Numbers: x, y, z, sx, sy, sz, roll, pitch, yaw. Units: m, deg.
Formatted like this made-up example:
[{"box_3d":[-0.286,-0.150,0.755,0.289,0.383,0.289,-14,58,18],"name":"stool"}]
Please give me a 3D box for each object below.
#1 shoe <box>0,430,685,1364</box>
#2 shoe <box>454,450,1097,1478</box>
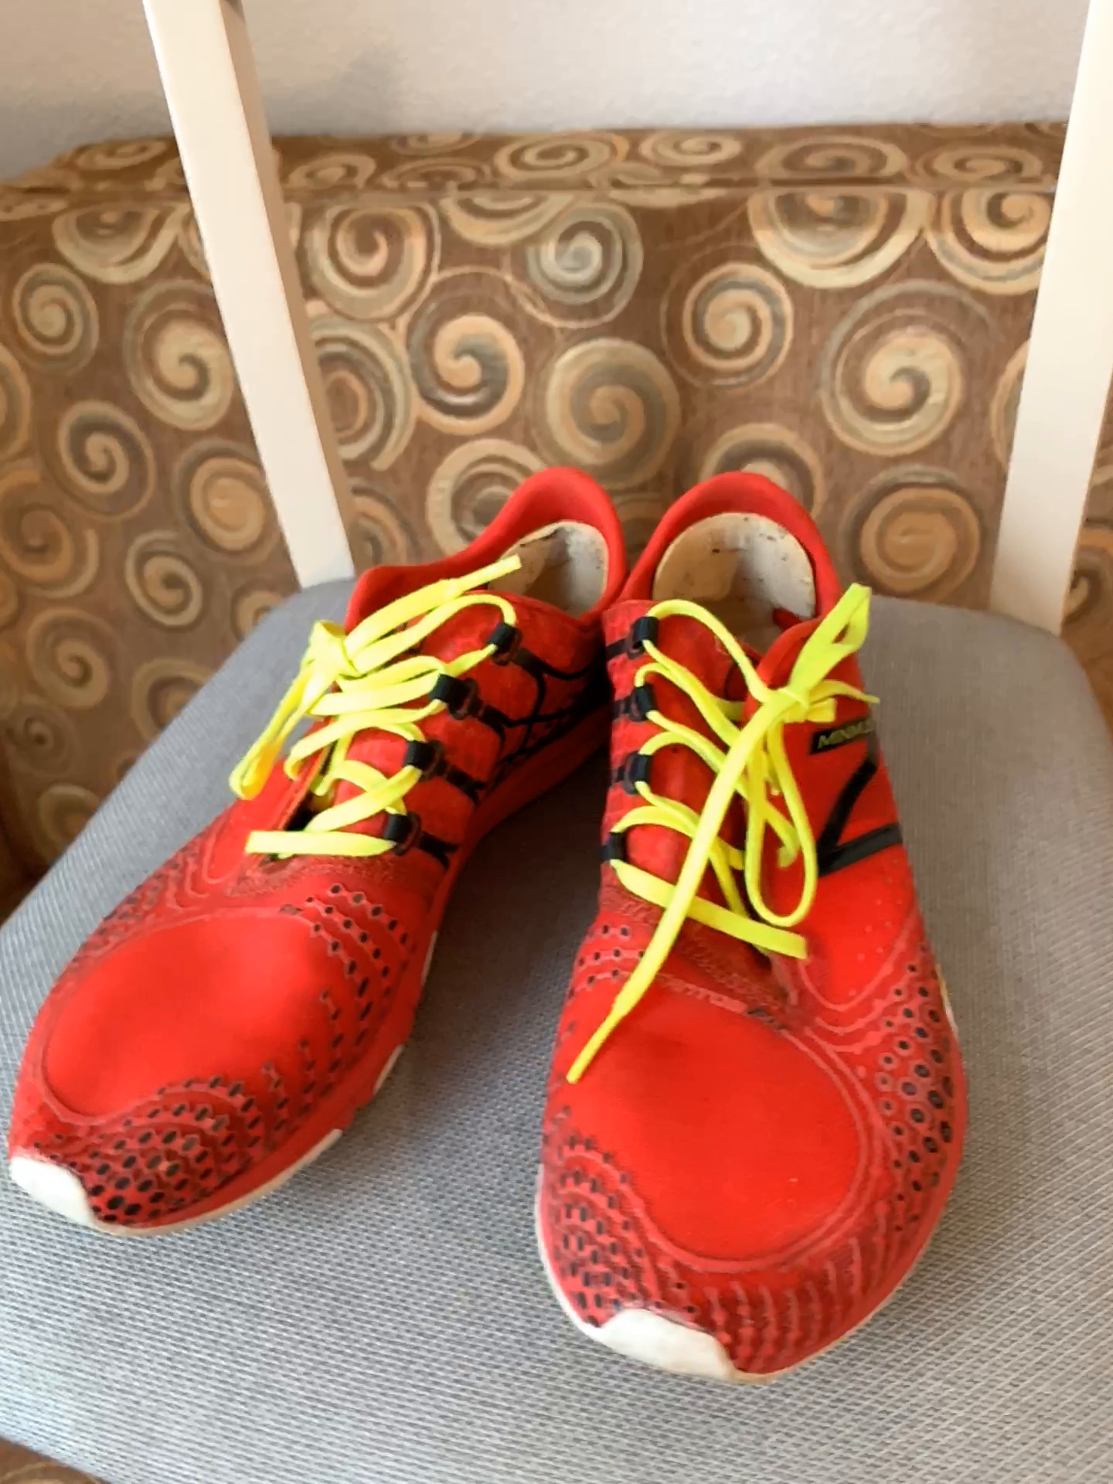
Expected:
[{"box_3d":[-0.067,0.024,0.356,0.110,0.090,0.261,19,54,24],"name":"shoe"},{"box_3d":[0.059,0.035,0.319,0.110,0.090,0.261,2,49,11],"name":"shoe"}]
